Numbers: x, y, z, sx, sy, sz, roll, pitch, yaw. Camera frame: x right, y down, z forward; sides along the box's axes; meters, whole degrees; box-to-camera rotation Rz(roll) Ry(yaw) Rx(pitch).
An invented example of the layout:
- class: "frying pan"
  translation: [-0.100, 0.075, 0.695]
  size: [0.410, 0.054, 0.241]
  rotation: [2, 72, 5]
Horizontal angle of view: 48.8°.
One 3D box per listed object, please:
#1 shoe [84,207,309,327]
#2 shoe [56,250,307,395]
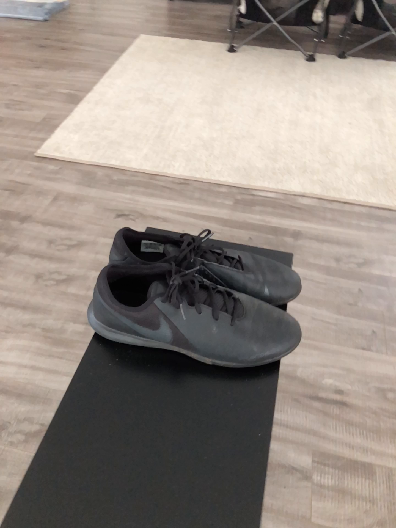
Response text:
- class: "shoe"
  translation: [0.000, 0.003, 0.640]
  size: [0.294, 0.110, 0.100]
  rotation: [6, 46, 4]
- class: "shoe"
  translation: [-0.017, 0.075, 0.575]
  size: [0.294, 0.110, 0.100]
  rotation: [8, 46, 6]
